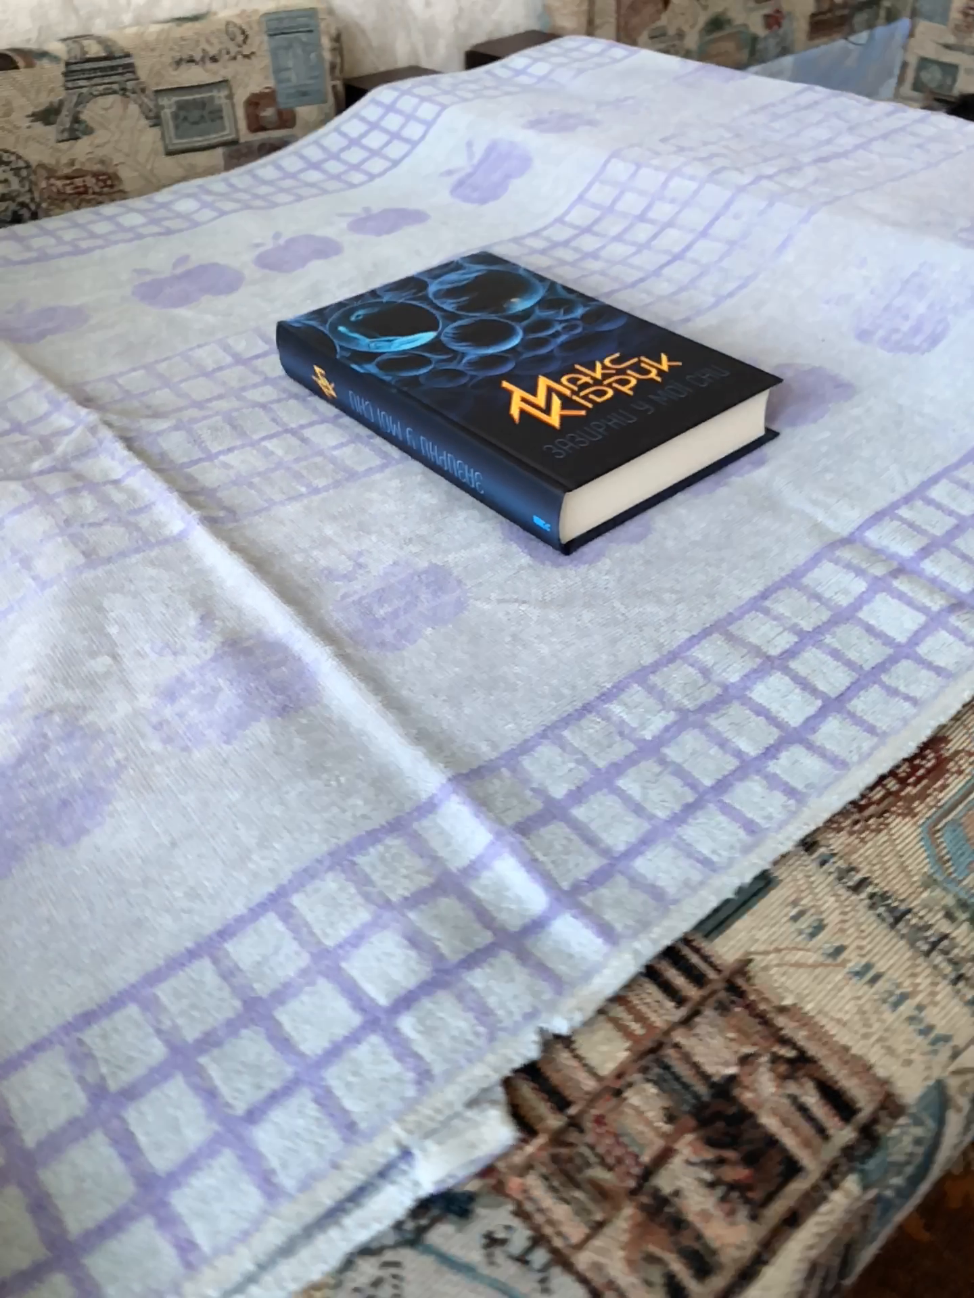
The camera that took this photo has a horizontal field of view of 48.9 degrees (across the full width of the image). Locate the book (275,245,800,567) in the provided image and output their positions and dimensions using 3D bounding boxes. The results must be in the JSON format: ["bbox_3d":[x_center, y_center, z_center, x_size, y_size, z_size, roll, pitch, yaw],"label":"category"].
[{"bbox_3d":[0.017,-0.132,0.524,0.140,0.035,0.221,-29,48,-28],"label":"book"}]
